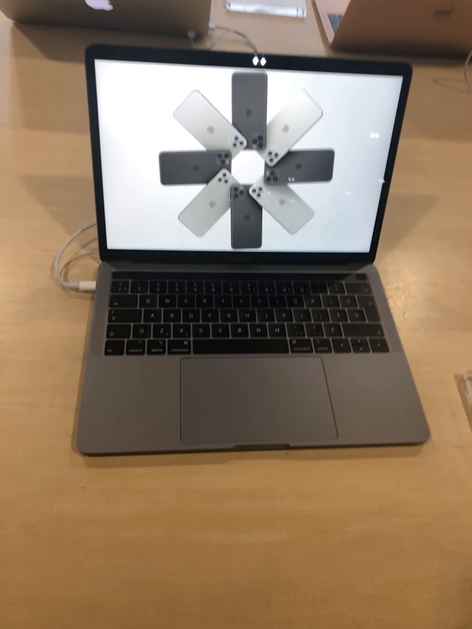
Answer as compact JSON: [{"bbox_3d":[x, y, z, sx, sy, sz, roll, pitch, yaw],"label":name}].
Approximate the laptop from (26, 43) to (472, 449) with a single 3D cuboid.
[{"bbox_3d":[0.015,-0.062,0.451,0.296,0.181,0.296,0,52,-8],"label":"laptop"}]
